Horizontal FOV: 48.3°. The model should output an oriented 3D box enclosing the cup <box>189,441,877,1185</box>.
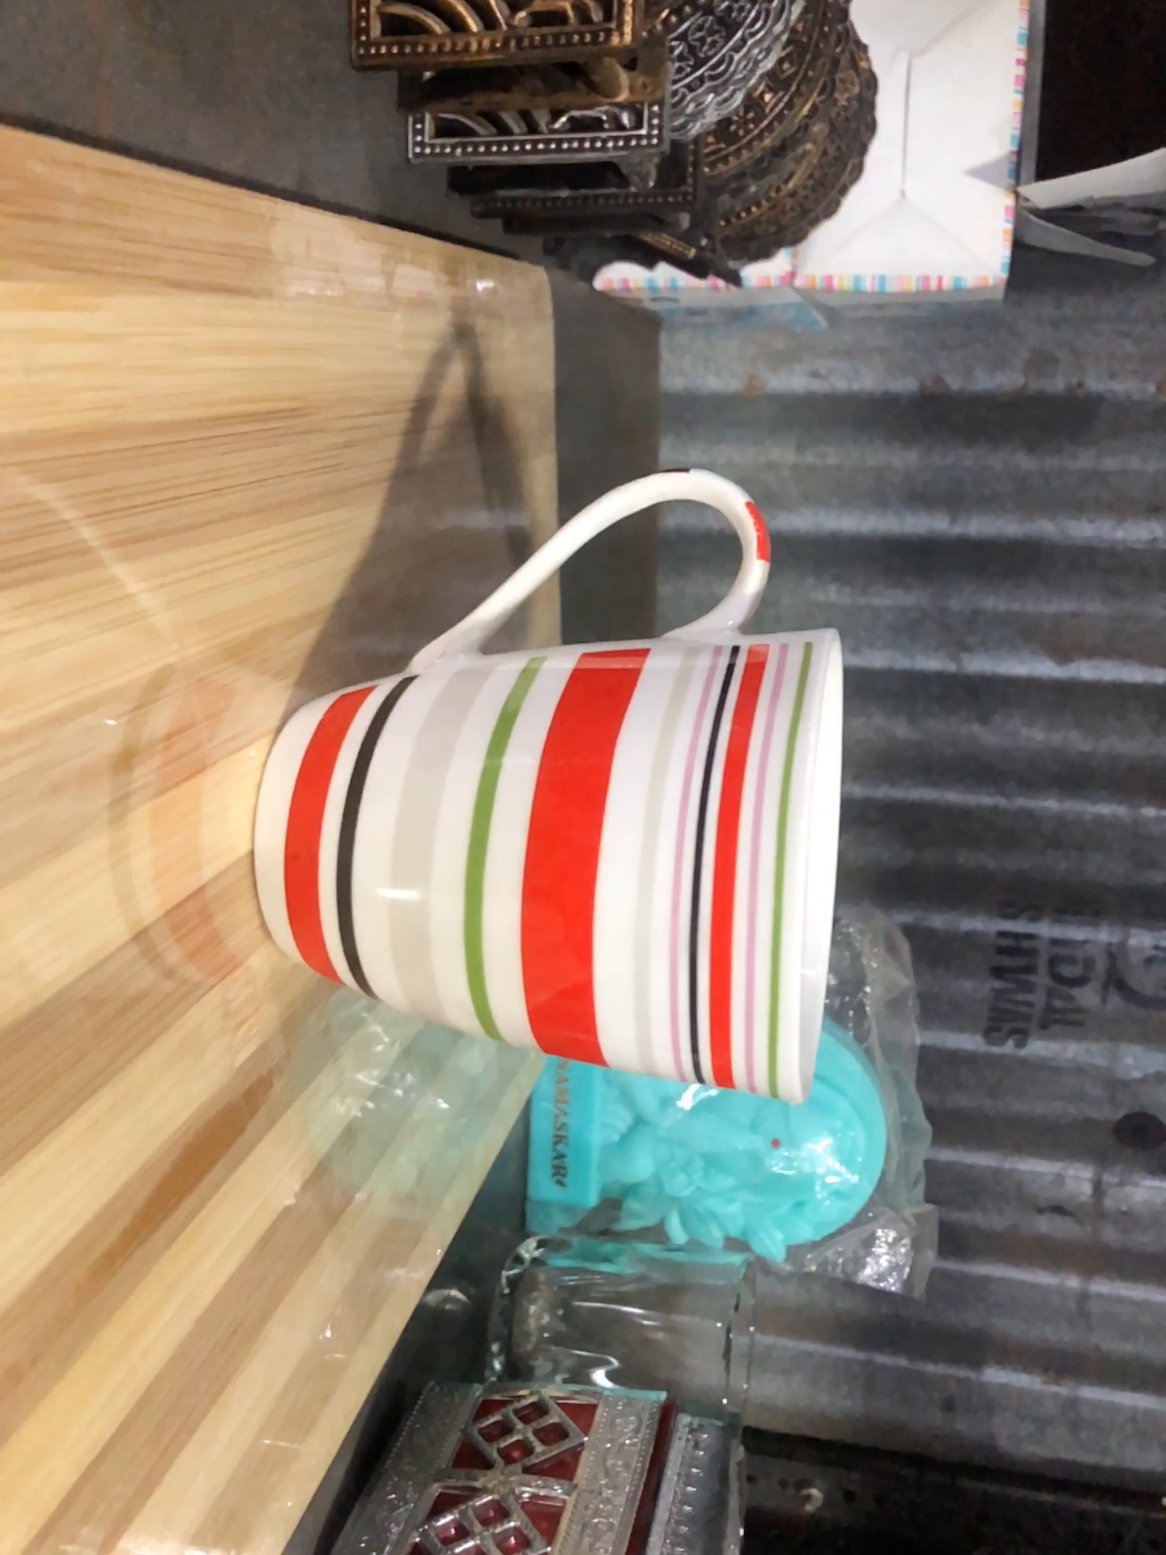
[{"bbox_3d":[-0.001,-0.001,0.241,0.080,0.100,0.110,-57,149,-67],"label":"cup"}]
